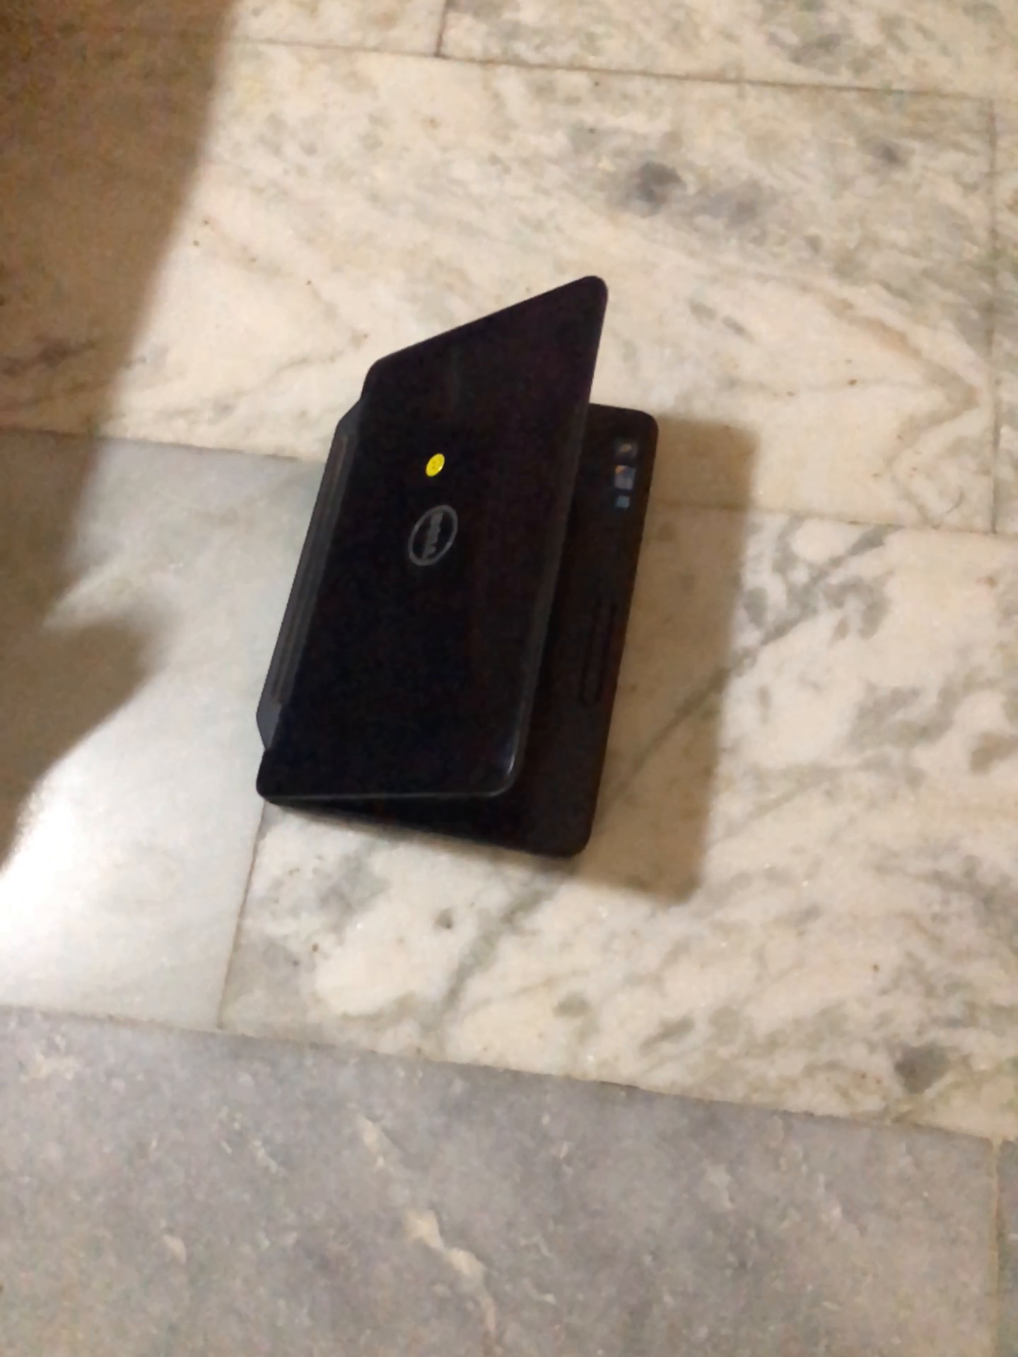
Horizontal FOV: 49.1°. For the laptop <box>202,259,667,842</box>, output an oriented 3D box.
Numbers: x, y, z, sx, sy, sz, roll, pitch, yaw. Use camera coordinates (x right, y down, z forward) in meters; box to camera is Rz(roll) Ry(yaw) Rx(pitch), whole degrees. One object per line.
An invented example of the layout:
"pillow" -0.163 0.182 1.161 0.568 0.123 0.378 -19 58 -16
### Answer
"laptop" -0.035 -0.090 0.781 0.234 0.161 0.351 8 69 6
